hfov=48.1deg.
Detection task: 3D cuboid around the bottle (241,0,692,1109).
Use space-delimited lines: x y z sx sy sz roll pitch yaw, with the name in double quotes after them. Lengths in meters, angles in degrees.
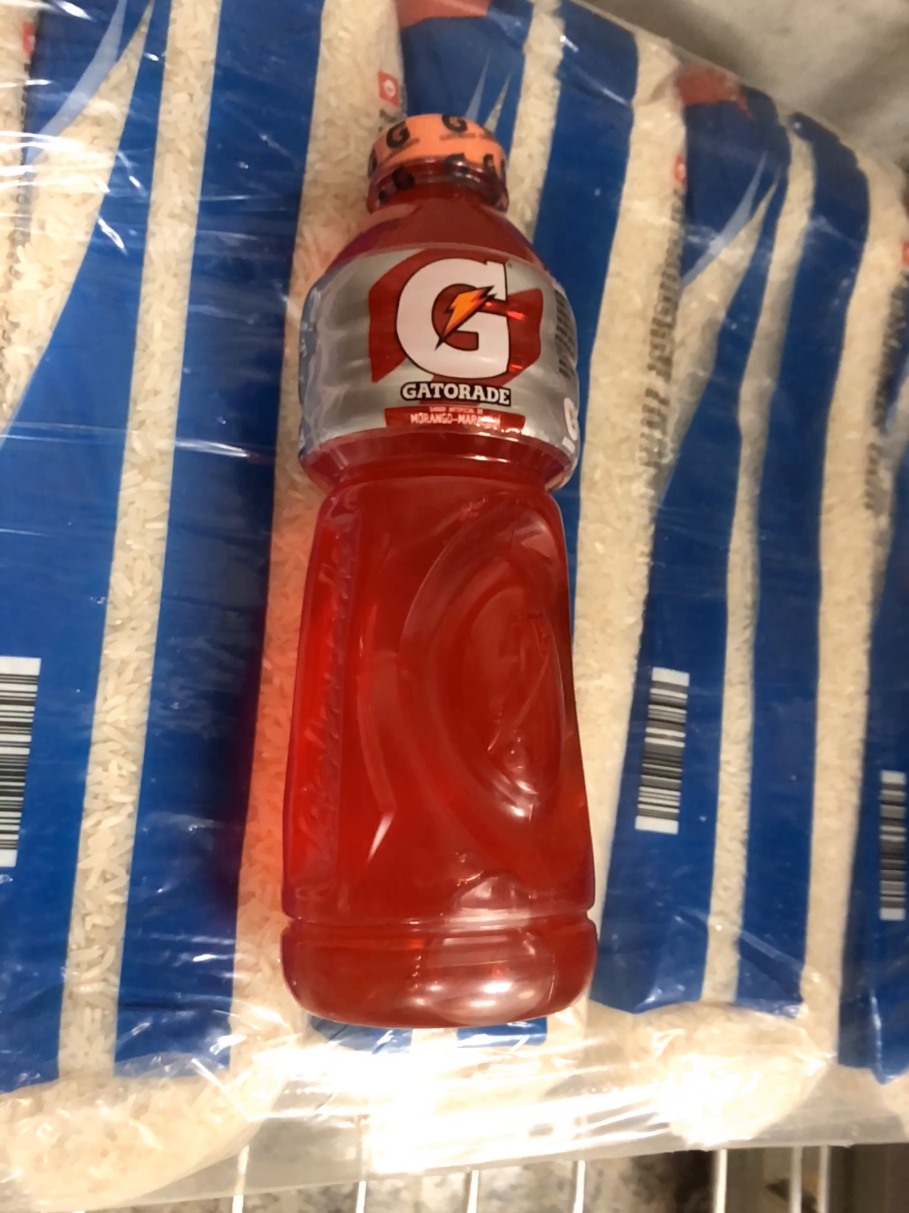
0.001 -0.019 0.227 0.080 0.060 0.220 3 84 -19 "bottle"
